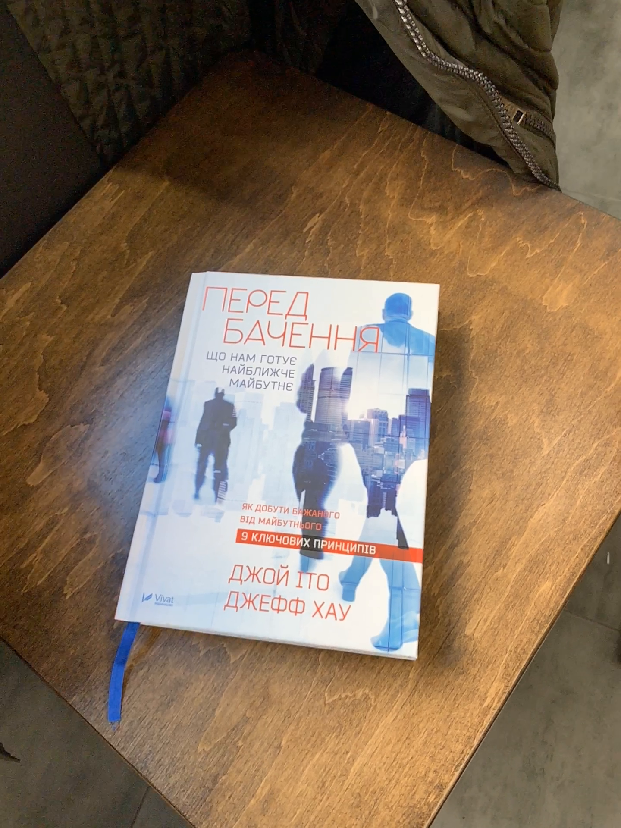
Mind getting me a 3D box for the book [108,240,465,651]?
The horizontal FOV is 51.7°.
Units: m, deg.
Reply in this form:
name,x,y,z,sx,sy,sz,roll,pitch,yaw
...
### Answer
name,x,y,z,sx,sy,sz,roll,pitch,yaw
book,-0.003,0.007,0.329,0.149,0.040,0.196,5,68,8
